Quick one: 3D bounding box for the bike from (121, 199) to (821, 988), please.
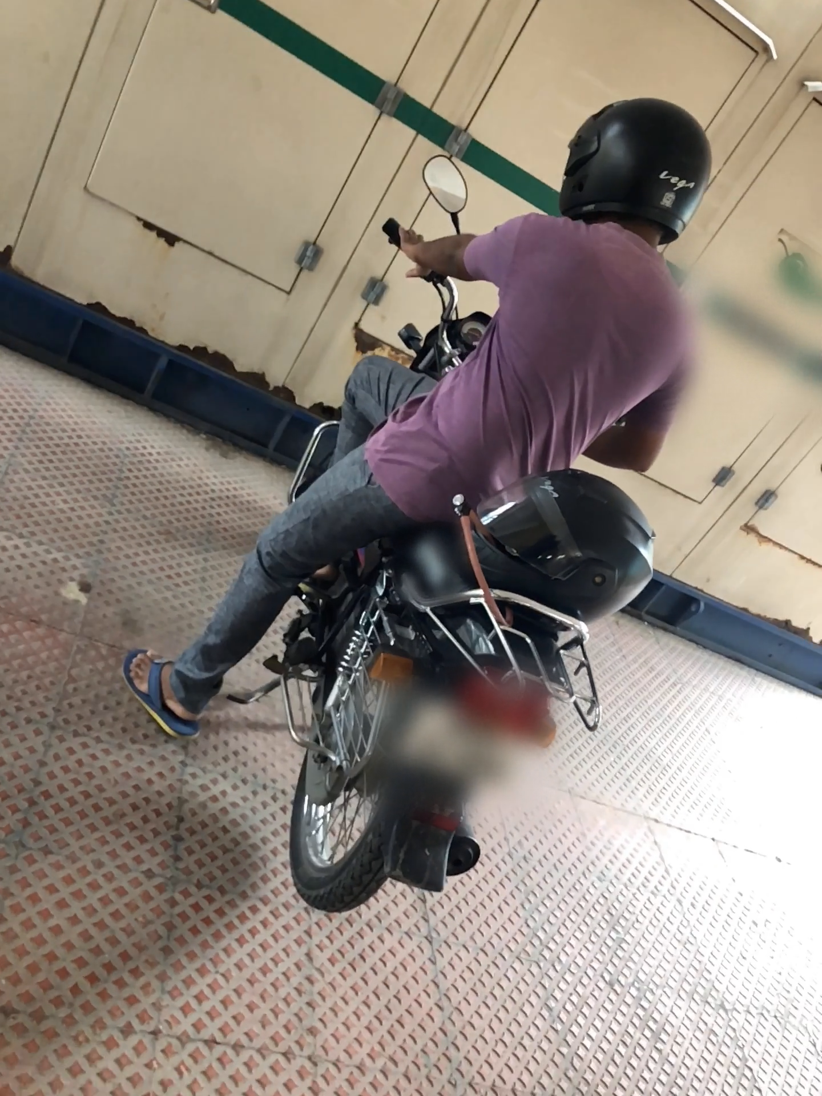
[{"bbox_3d":[0.144,-0.040,2.145,0.814,0.928,1.603,28,29,-15],"label":"bike"}]
